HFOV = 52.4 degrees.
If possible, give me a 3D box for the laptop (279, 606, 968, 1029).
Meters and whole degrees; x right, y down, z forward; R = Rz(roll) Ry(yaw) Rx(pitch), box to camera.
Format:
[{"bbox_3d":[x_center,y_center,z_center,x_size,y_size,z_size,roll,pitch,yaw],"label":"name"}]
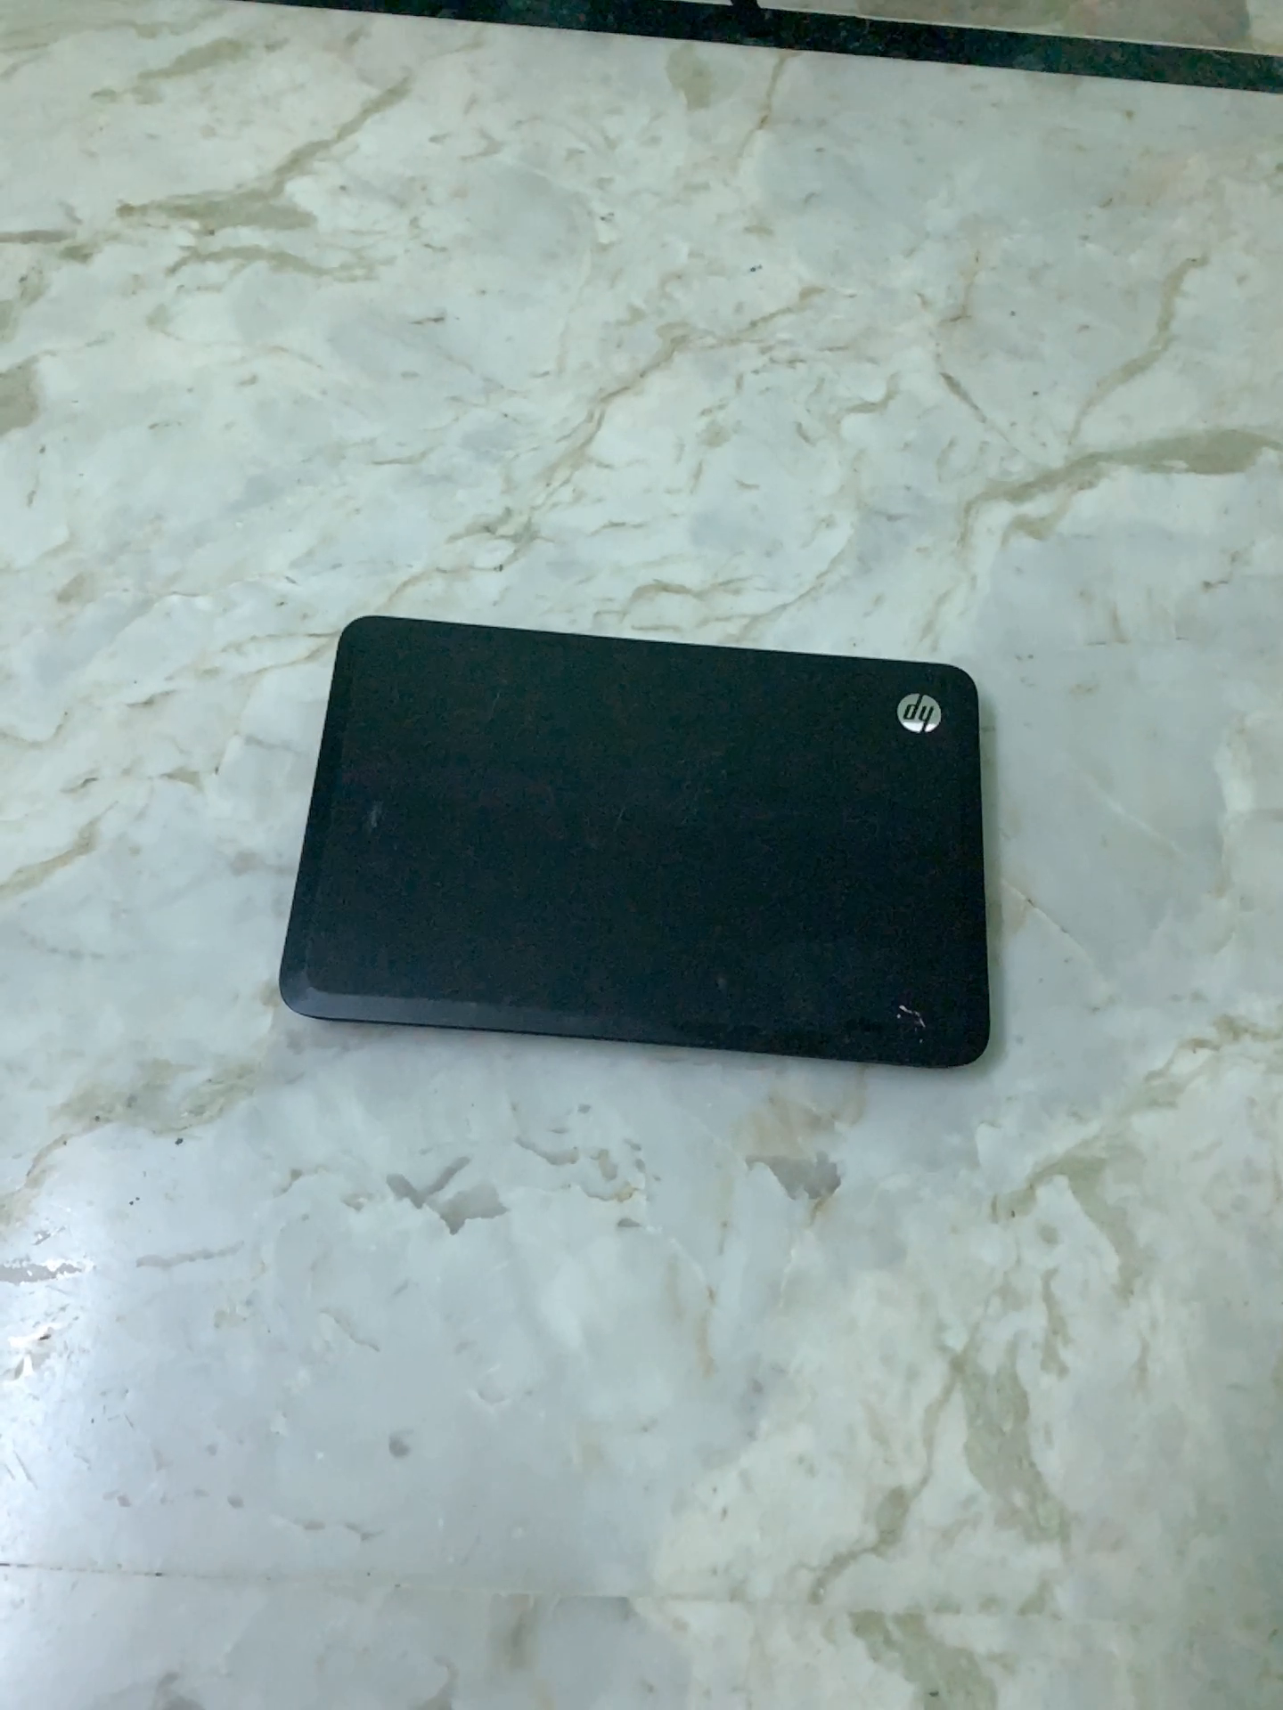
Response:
[{"bbox_3d":[-0.002,-0.027,0.693,0.333,0.022,0.222,4,60,0],"label":"laptop"}]
